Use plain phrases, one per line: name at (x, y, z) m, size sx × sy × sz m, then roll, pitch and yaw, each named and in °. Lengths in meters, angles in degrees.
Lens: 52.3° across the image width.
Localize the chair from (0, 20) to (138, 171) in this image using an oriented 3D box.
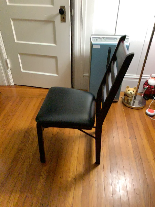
chair at (-0.032, -0.035, 1.071) m, size 0.550 × 0.865 × 0.493 m, roll 3°, pitch 37°, yaw 3°
